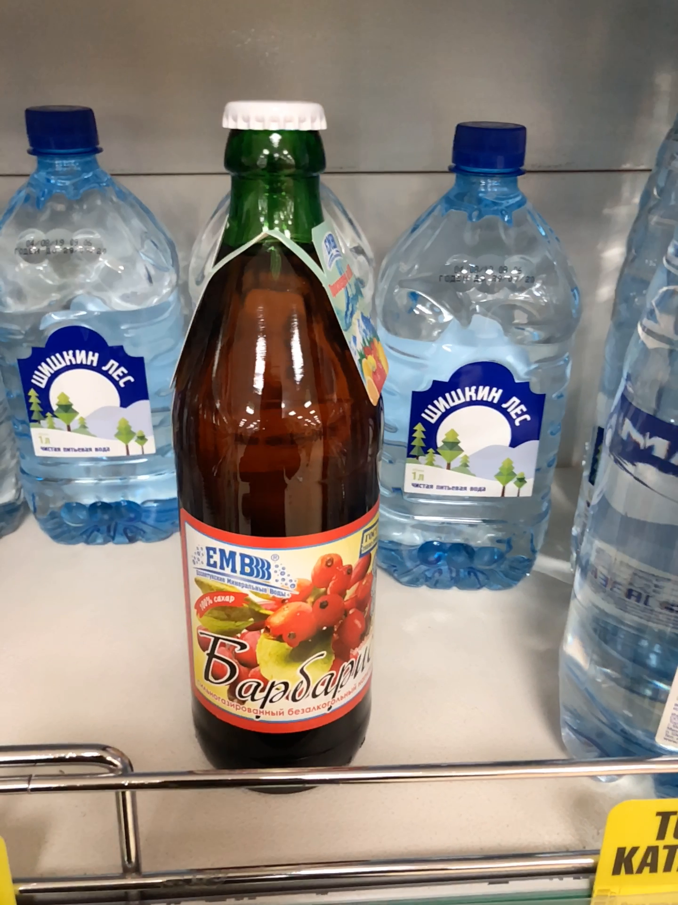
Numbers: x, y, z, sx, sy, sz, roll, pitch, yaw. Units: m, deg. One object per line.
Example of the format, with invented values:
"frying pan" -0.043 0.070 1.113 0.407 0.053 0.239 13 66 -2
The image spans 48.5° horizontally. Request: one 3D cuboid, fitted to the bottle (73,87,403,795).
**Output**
"bottle" -0.023 0.007 0.241 0.073 0.222 0.057 -1 26 -1
